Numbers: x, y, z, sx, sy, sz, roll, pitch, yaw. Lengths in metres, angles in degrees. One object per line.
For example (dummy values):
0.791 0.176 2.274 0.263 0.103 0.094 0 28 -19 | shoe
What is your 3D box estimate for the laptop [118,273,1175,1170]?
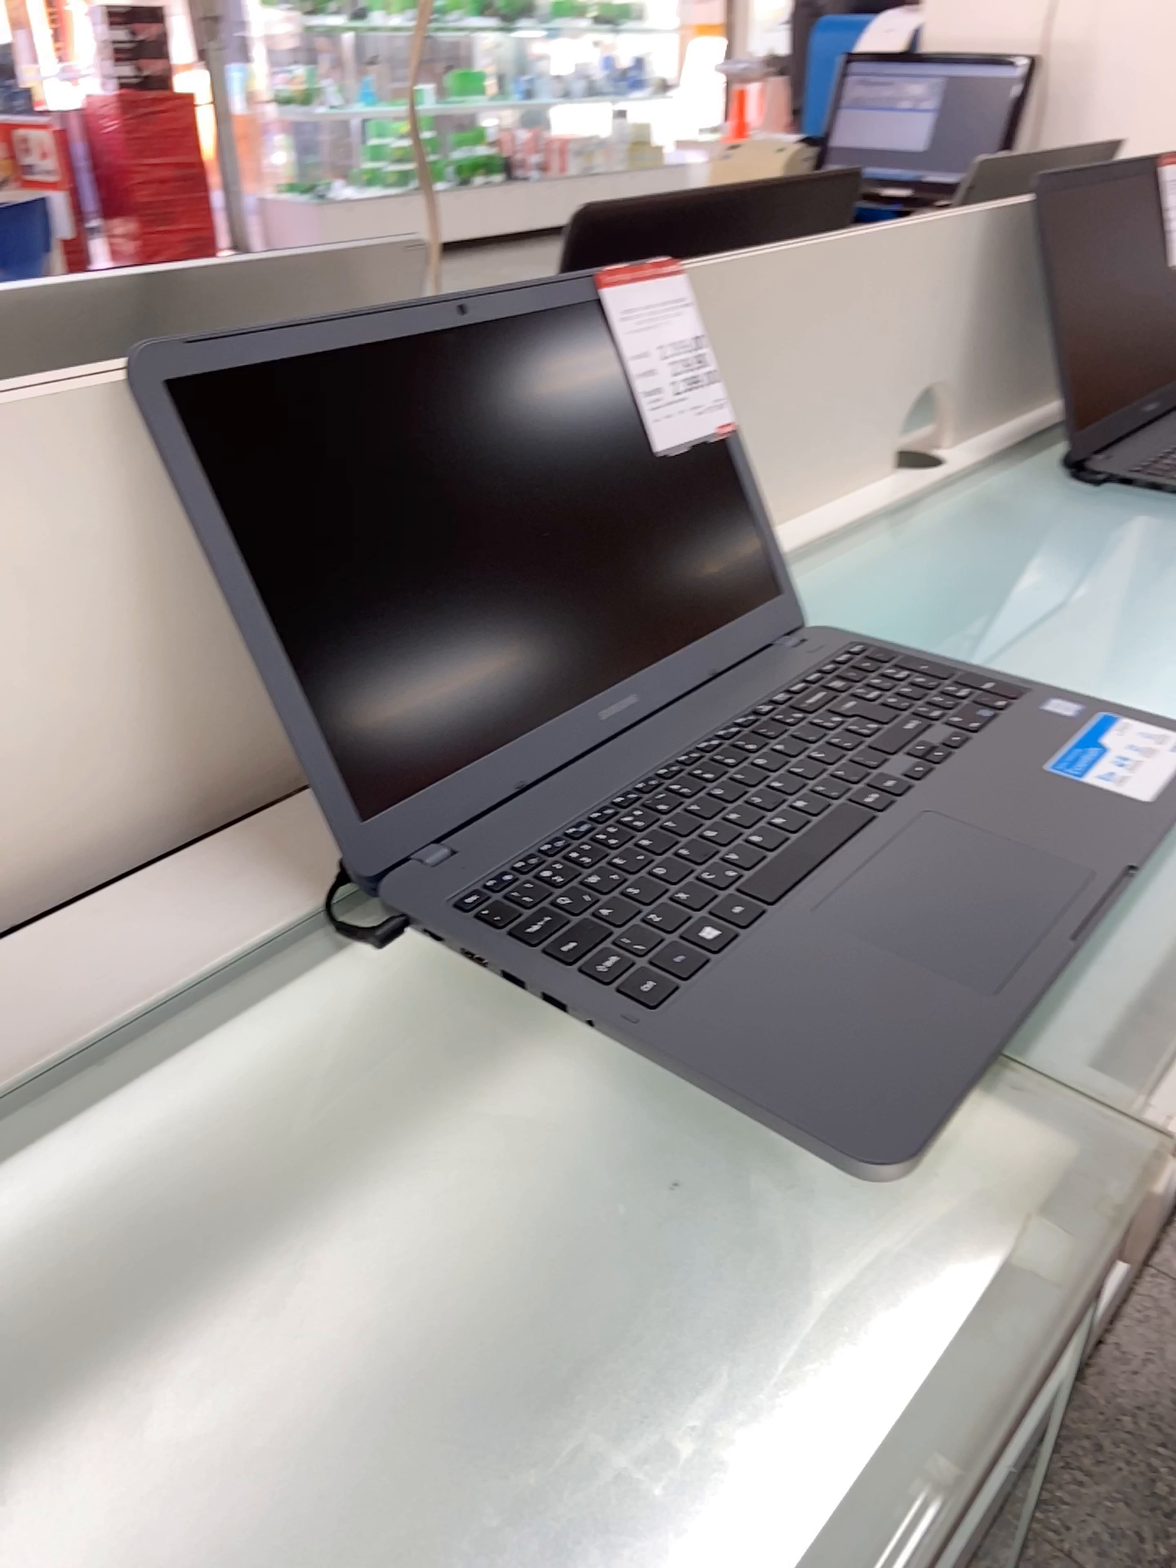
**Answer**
0.070 -0.090 0.540 0.352 0.197 0.362 22 37 34 | laptop
